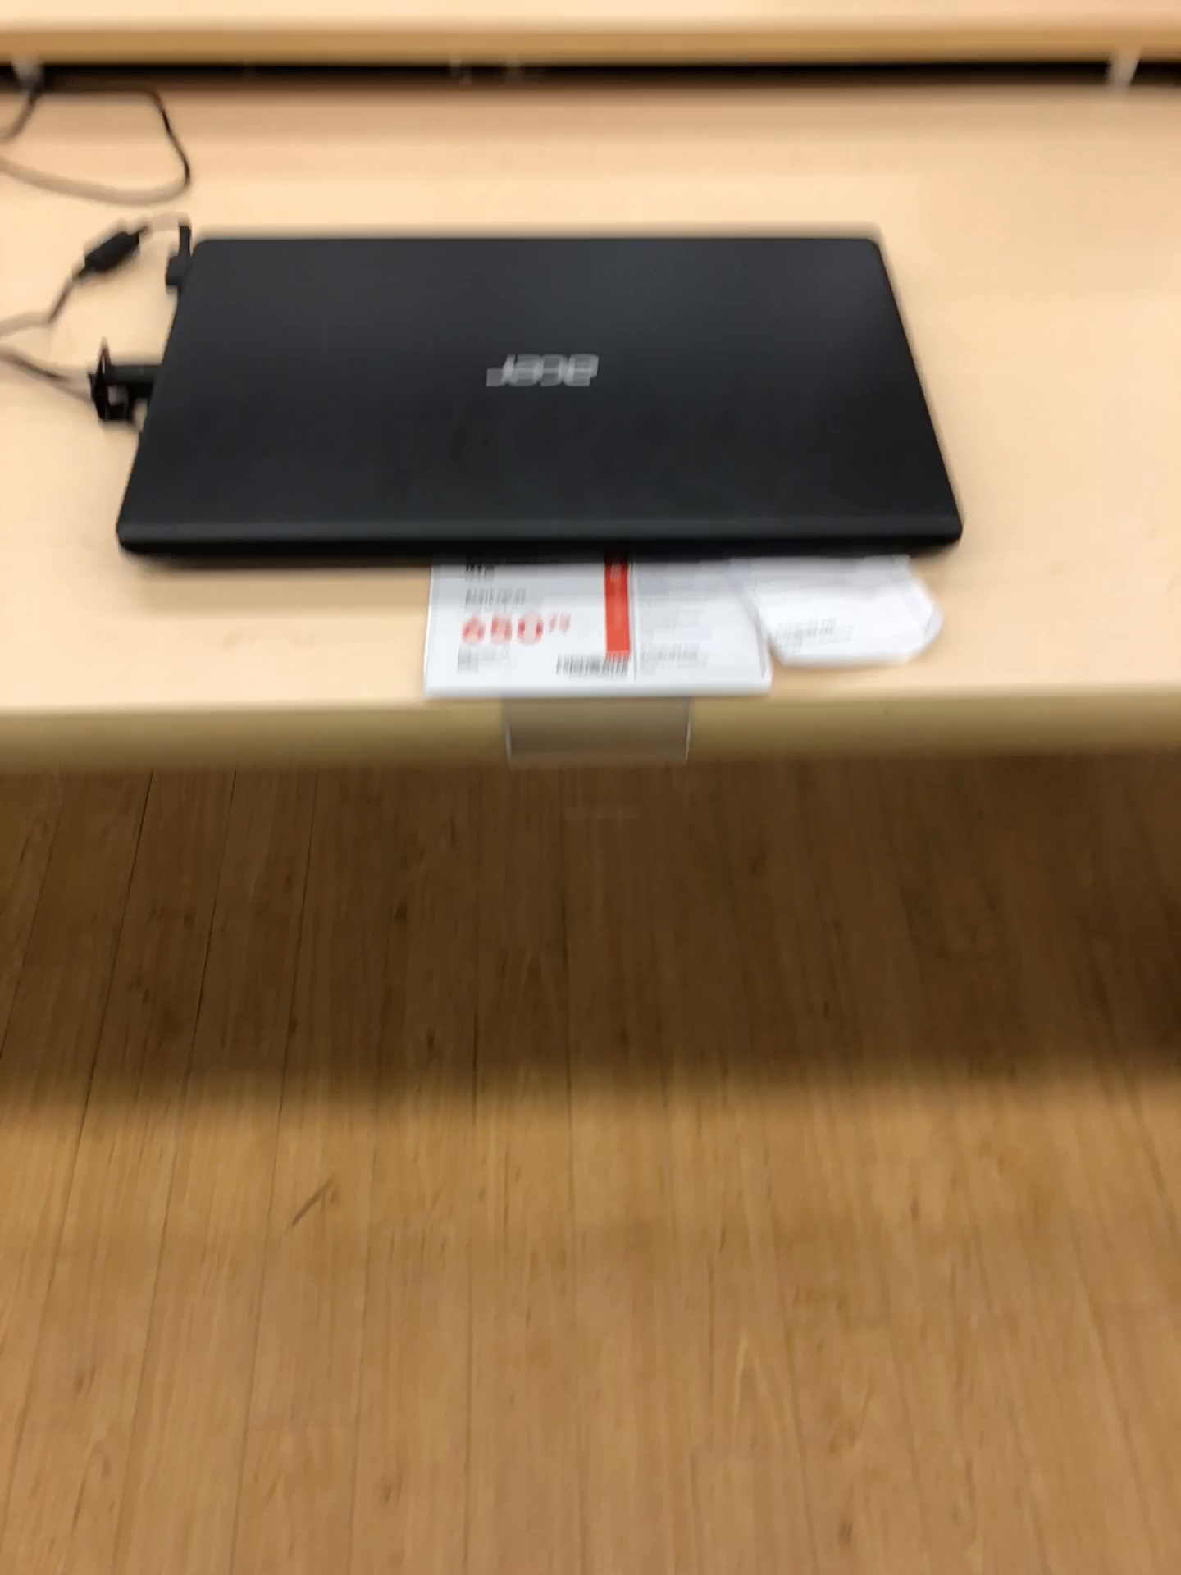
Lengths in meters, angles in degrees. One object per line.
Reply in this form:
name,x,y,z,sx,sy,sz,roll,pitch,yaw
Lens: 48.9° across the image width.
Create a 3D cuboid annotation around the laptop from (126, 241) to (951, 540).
laptop,-0.021,-0.194,0.608,0.346,0.003,0.213,-1,54,-4
